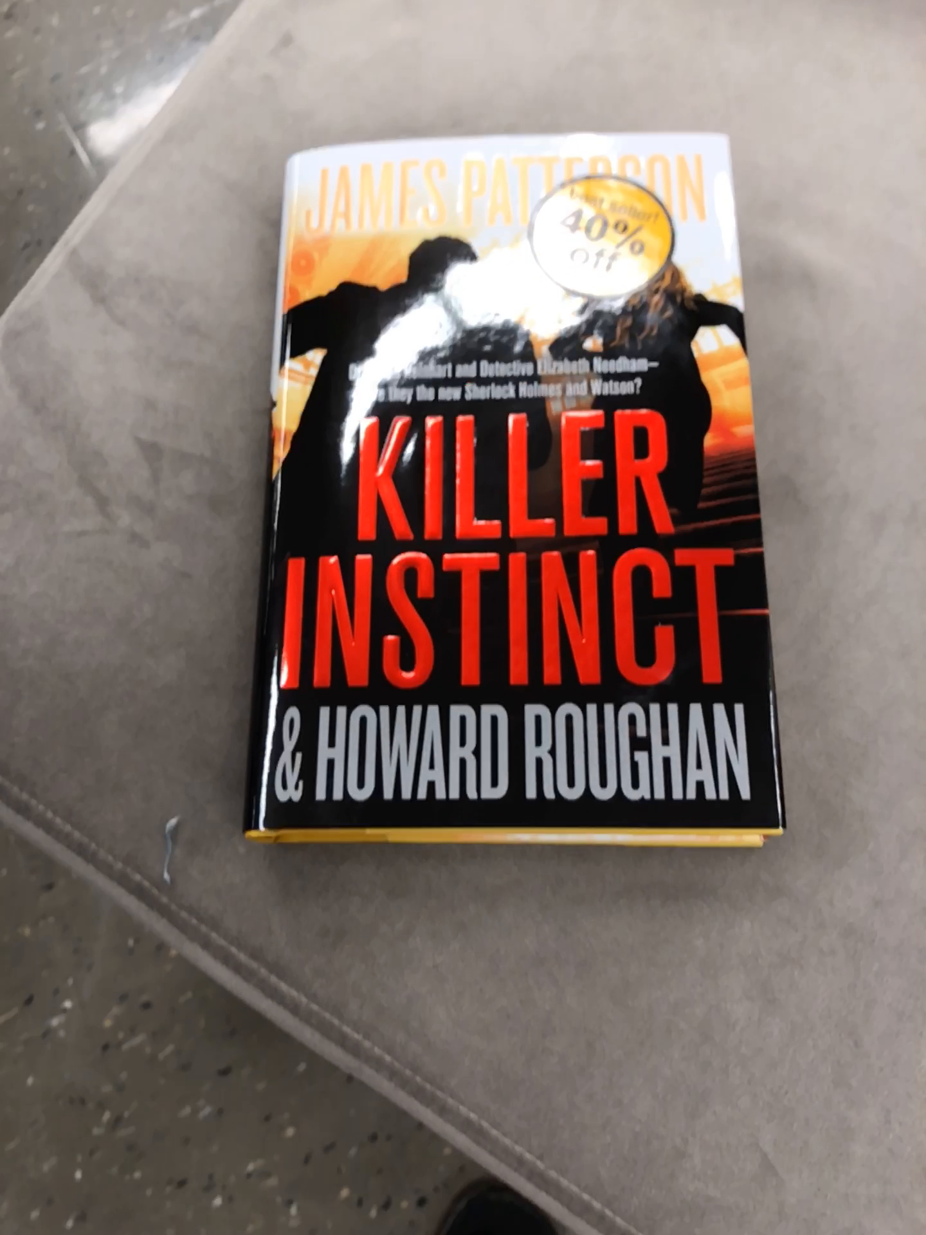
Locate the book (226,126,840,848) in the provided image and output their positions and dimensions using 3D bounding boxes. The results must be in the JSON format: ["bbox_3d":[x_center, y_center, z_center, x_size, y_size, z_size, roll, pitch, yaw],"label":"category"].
[{"bbox_3d":[0.021,-0.048,0.342,0.172,0.038,0.238,0,73,4],"label":"book"}]
